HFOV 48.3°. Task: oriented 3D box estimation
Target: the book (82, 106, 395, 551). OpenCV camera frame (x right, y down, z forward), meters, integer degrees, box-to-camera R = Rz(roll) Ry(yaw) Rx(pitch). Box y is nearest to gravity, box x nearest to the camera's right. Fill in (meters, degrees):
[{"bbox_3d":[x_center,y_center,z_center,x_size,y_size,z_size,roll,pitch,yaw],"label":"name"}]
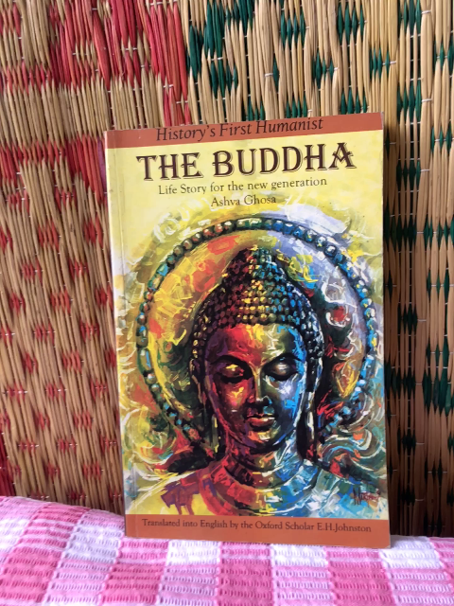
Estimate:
[{"bbox_3d":[0.006,0.015,0.258,0.146,0.207,0.030,-1,3,8],"label":"book"}]
